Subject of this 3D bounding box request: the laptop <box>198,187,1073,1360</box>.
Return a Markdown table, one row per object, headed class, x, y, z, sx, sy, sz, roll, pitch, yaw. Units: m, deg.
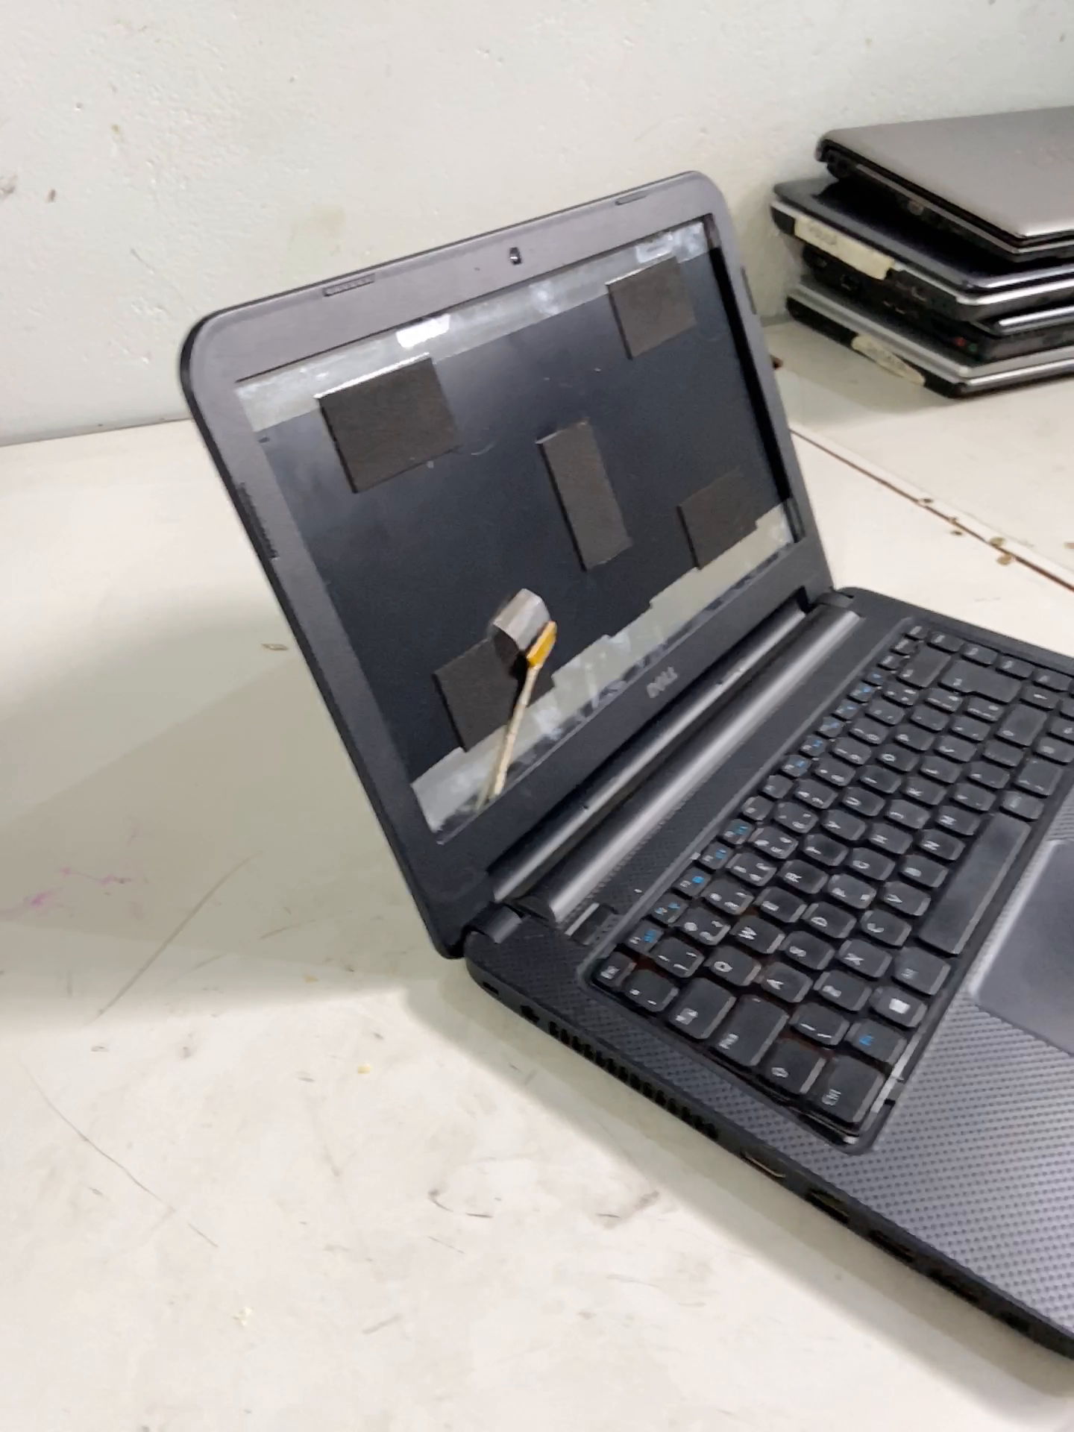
| class | x | y | z | sx | sy | sz | roll | pitch | yaw |
| --- | --- | --- | --- | --- | --- | --- | --- | --- | --- |
| laptop | 0.124 | -0.046 | 0.415 | 0.335 | 0.193 | 0.321 | 25 | 43 | 29 |
